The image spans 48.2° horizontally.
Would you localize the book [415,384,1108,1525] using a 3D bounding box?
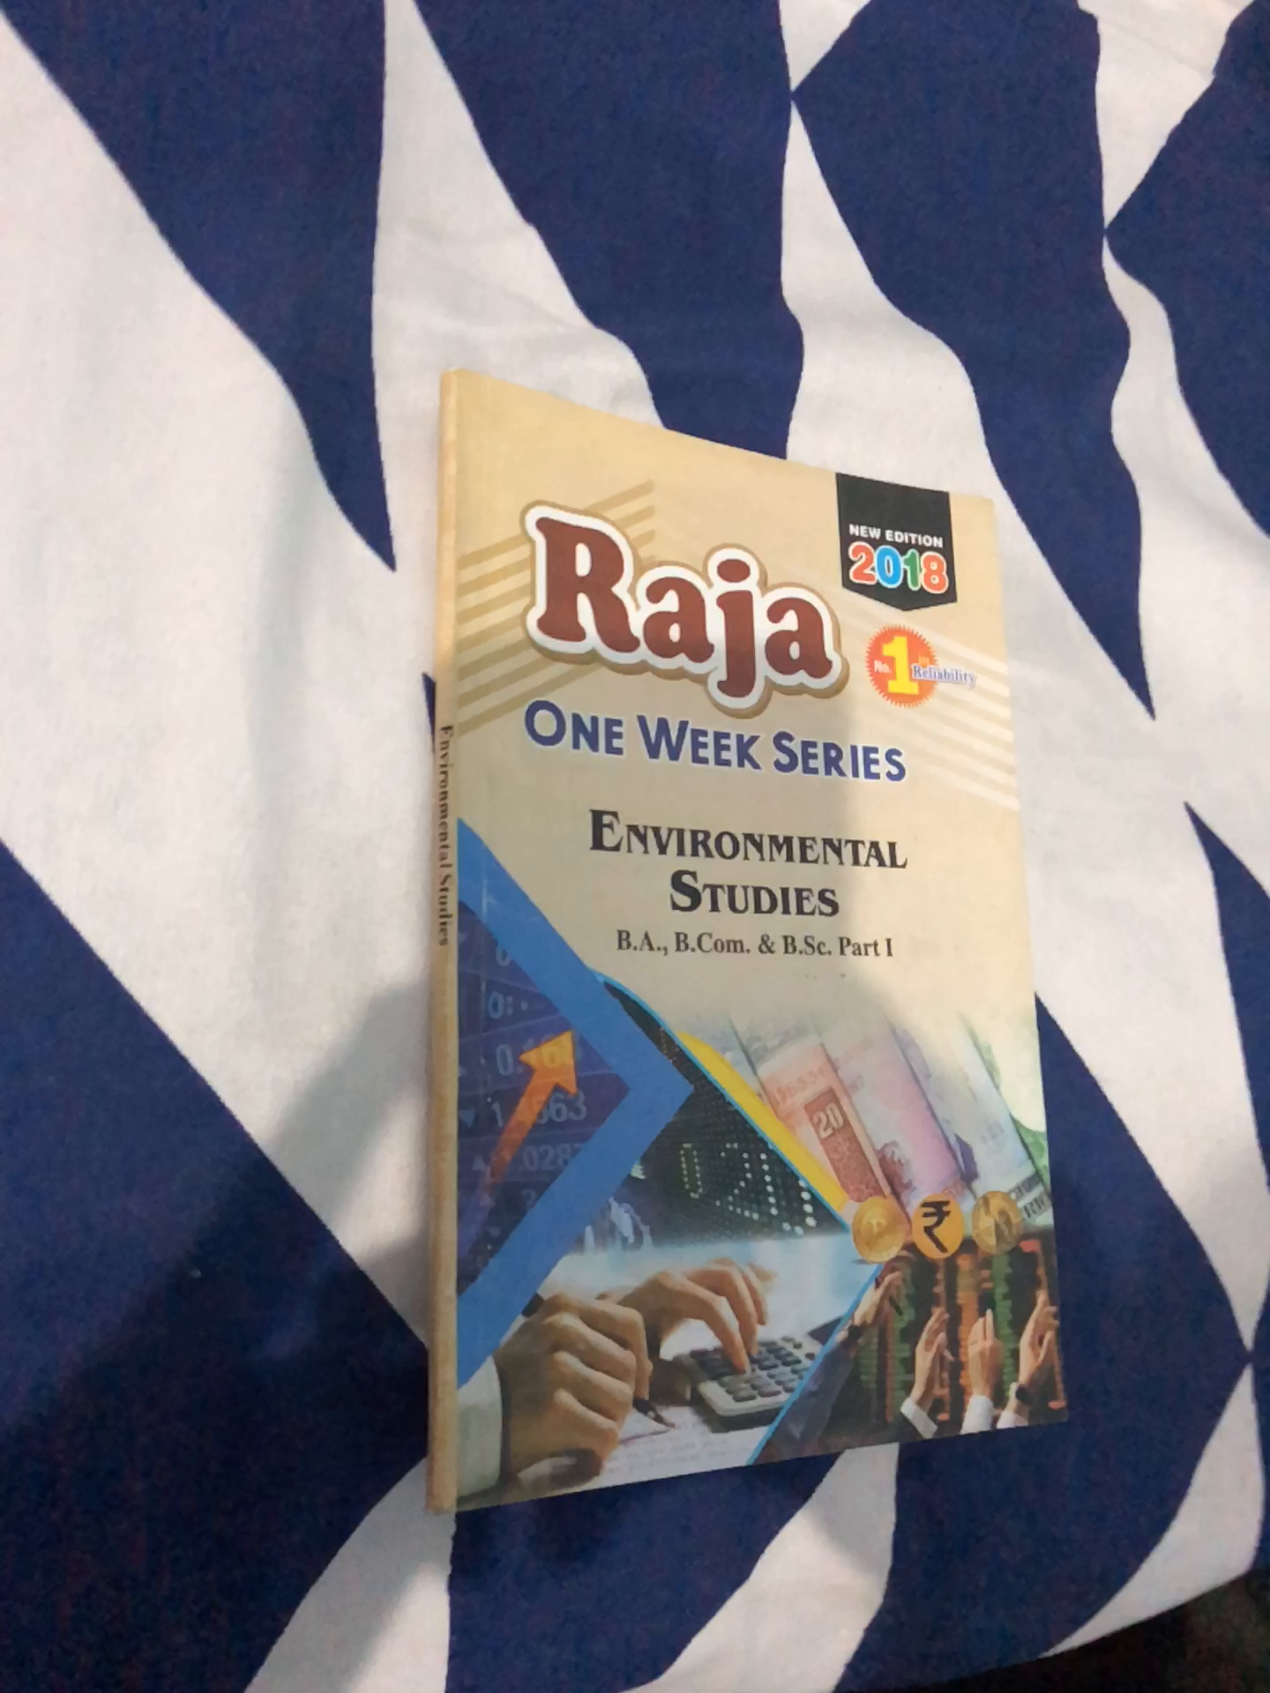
[{"bbox_3d":[0.027,0.016,0.281,0.140,0.010,0.200,4,78,-24],"label":"book"}]
